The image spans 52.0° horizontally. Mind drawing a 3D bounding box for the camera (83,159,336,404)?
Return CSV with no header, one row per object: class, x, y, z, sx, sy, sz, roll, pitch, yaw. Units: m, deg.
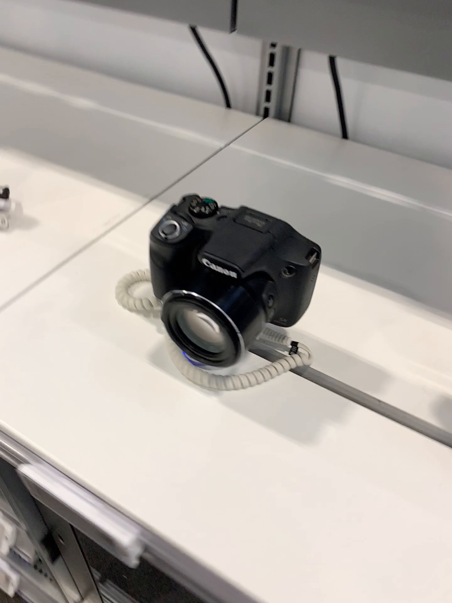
camera,-0.009,-0.019,0.313,0.120,0.089,0.100,23,46,19
